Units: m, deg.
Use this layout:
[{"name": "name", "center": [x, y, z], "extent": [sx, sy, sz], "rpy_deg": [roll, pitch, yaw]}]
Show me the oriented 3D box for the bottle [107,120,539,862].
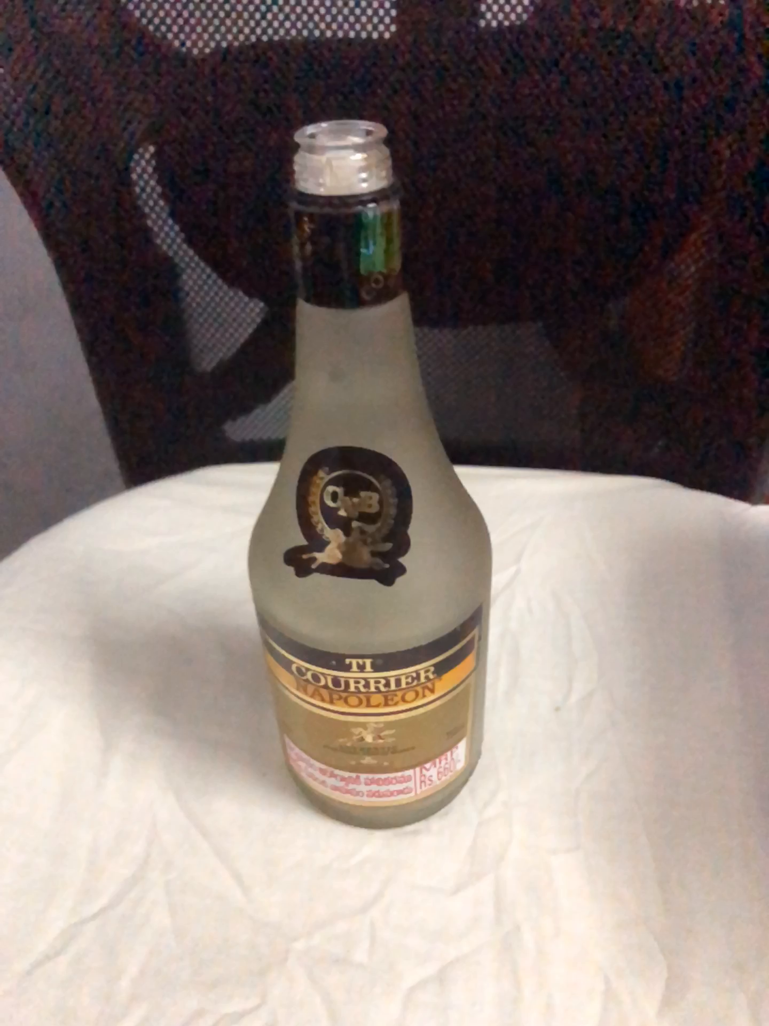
[{"name": "bottle", "center": [-0.008, 0.009, 0.281], "extent": [0.090, 0.239, 0.080], "rpy_deg": [3, 38, 5]}]
